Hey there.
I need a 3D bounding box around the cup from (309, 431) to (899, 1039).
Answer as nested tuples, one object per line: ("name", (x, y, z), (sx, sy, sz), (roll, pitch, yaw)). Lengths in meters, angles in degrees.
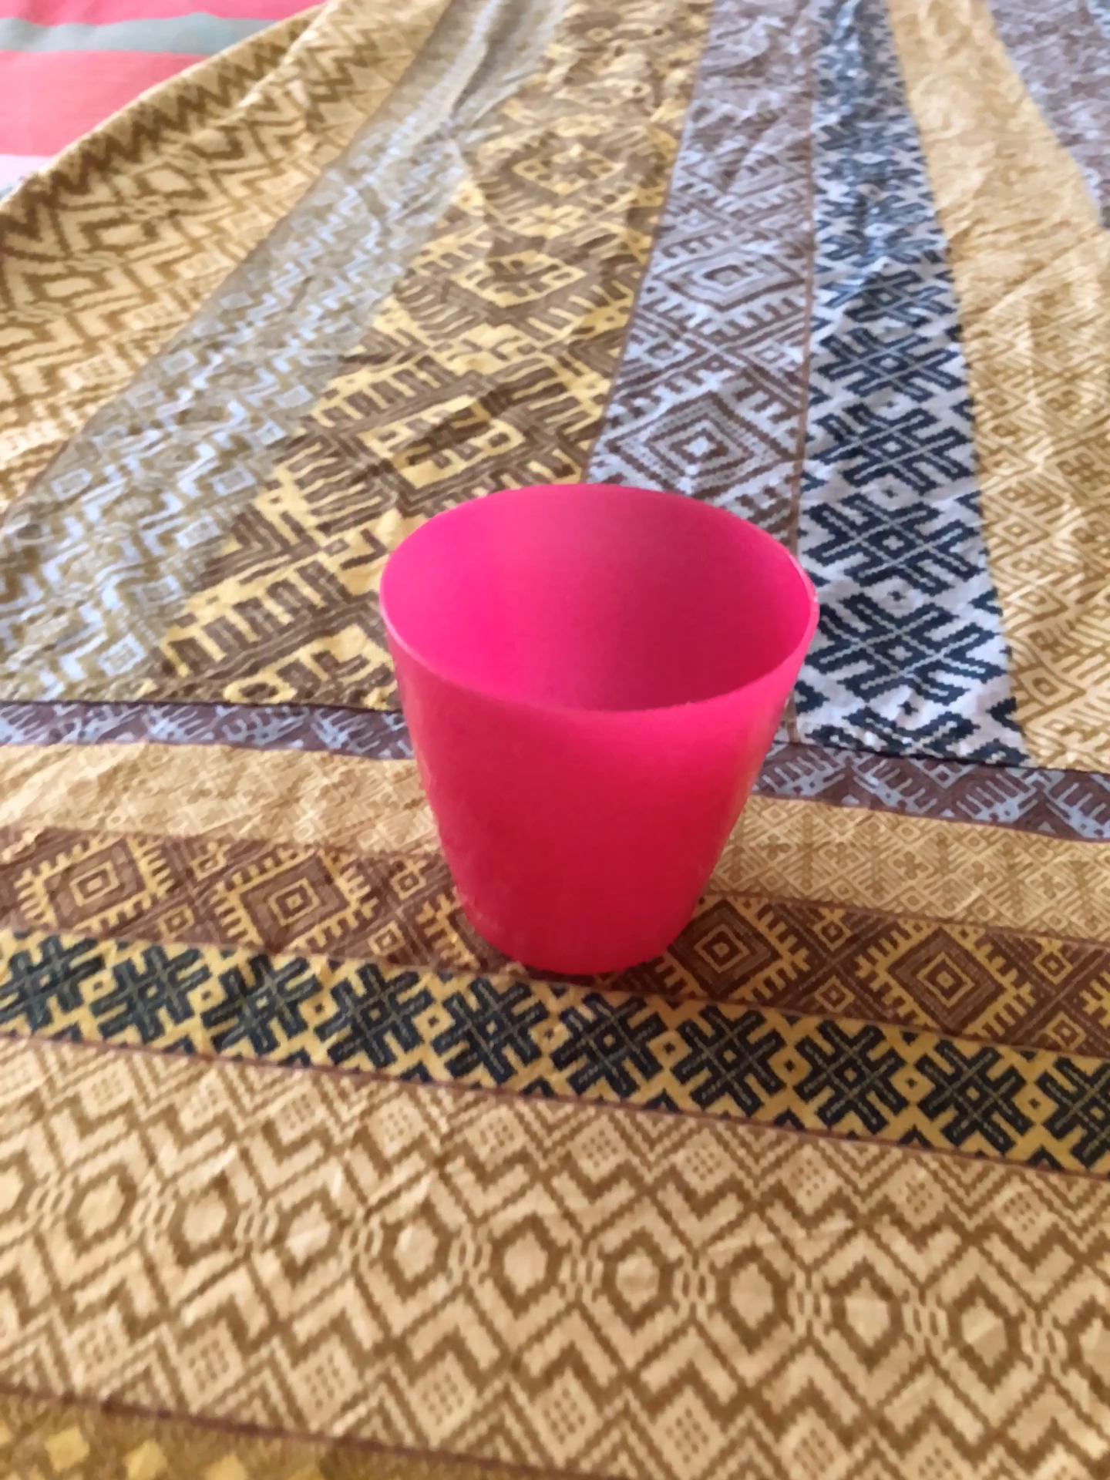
("cup", (0.005, -0.005, 0.242), (0.078, 0.067, 0.078), (1, 43, -1))
